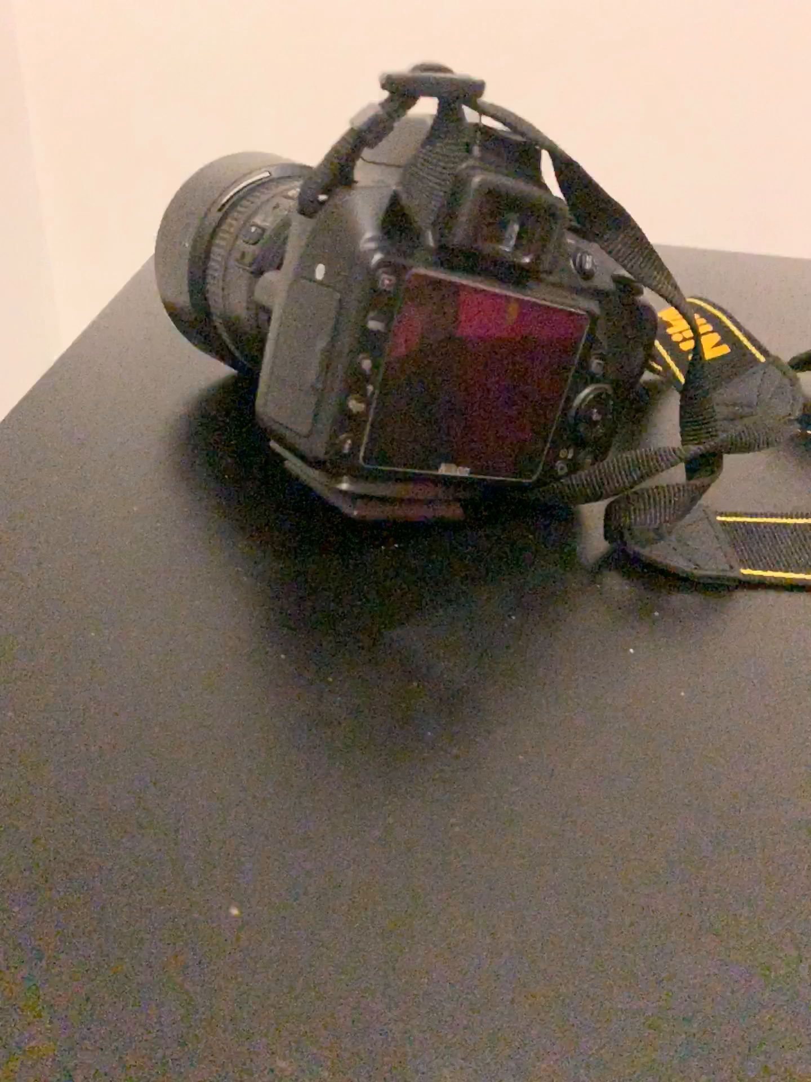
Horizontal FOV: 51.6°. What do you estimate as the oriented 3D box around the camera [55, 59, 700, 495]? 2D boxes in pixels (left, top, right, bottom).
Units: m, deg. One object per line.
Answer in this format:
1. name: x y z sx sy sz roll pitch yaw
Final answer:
1. camera: -0.032 -0.103 0.304 0.116 0.089 0.220 2 24 -38
